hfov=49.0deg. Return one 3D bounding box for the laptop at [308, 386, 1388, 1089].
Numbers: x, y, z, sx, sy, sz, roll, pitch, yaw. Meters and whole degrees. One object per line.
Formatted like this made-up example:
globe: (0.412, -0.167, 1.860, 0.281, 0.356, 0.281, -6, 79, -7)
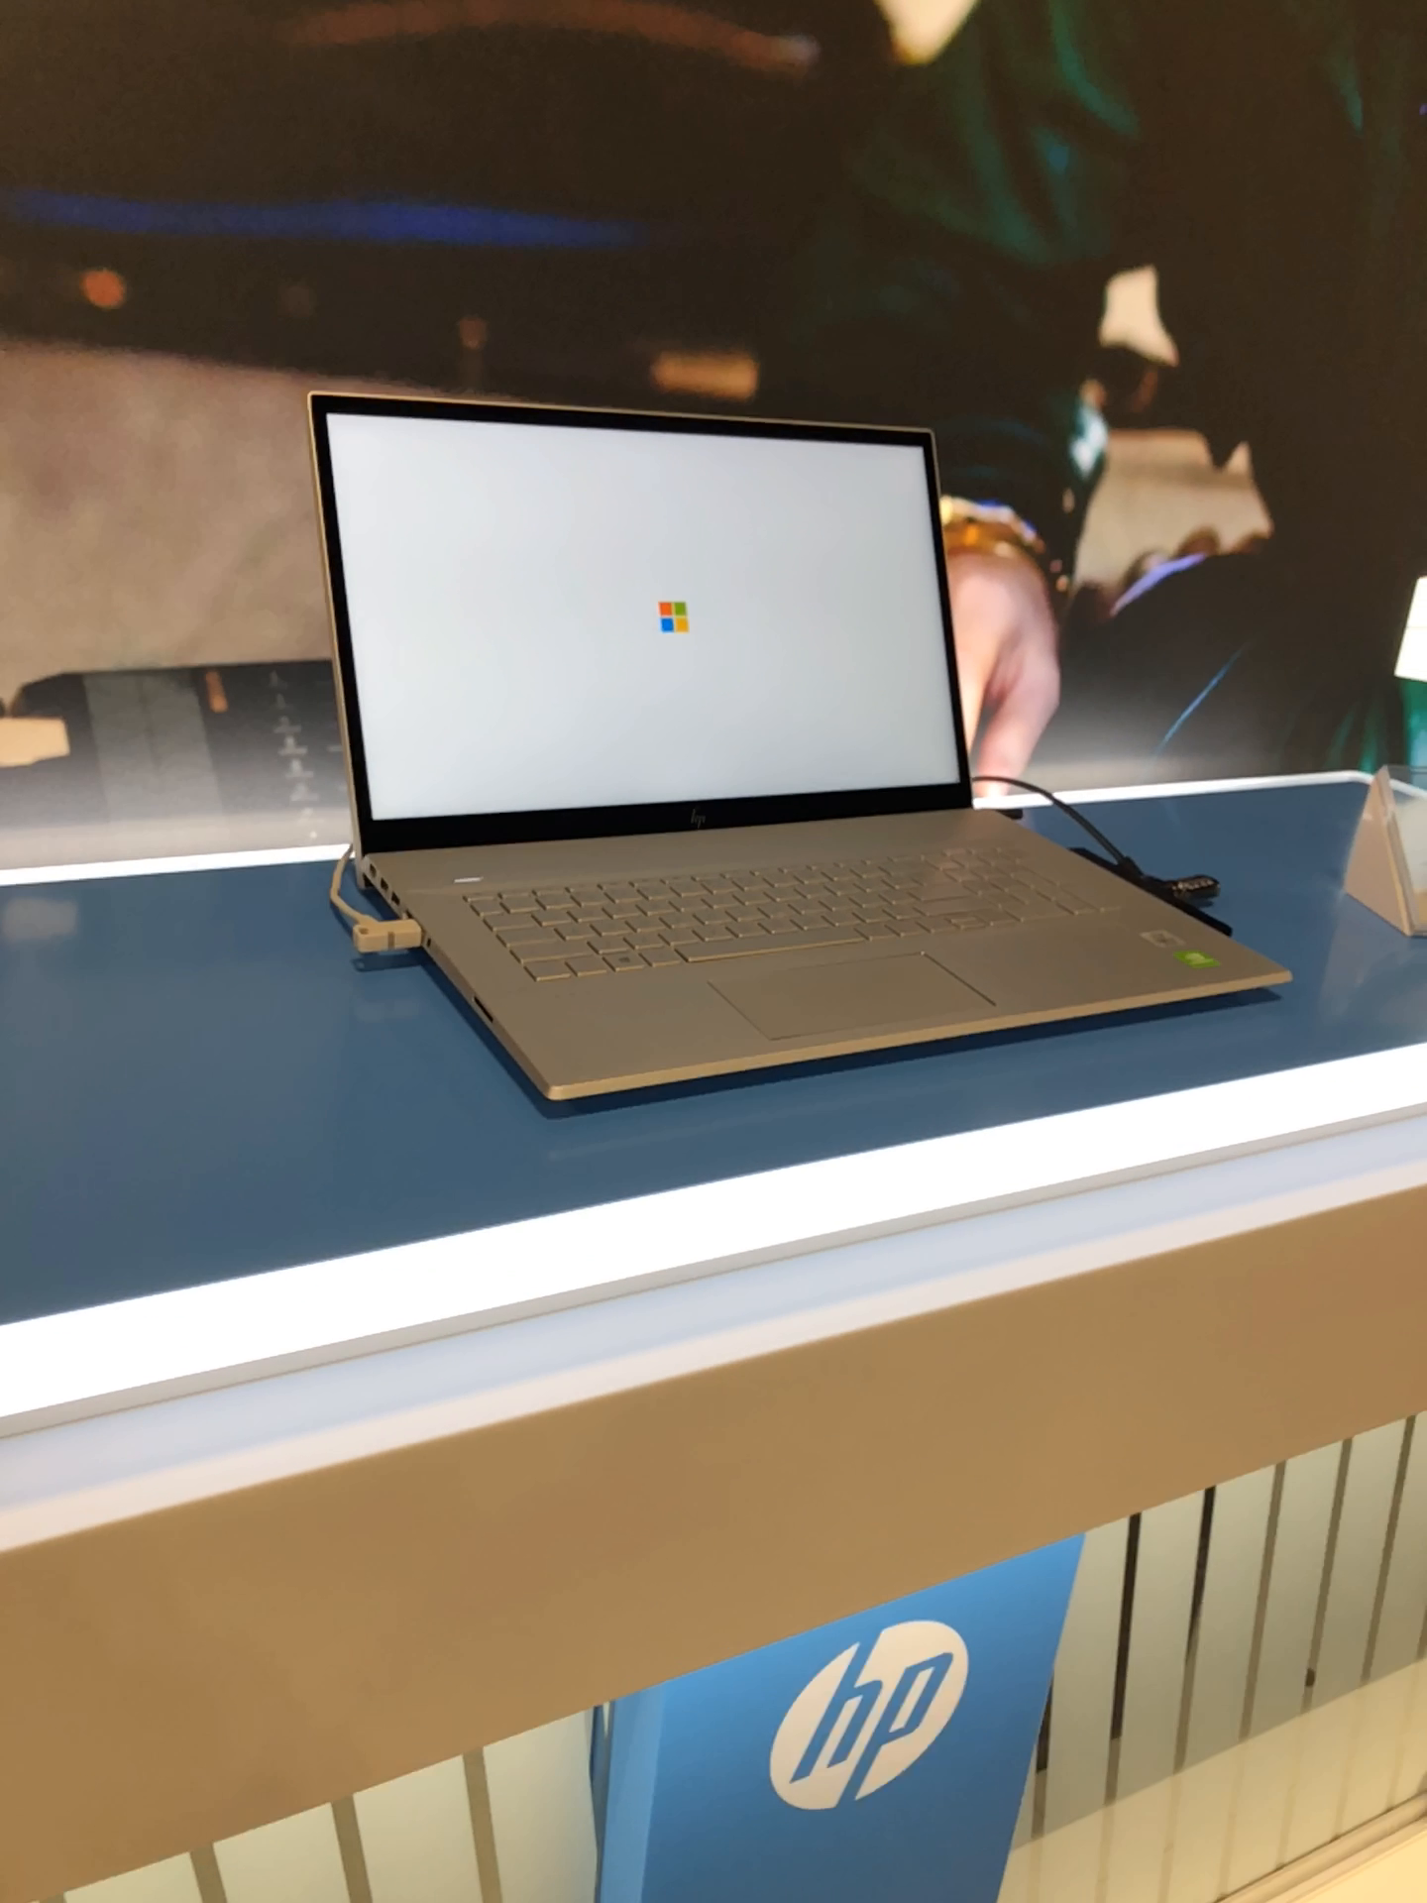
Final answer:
laptop: (0.037, -0.147, 0.820, 0.400, 0.217, 0.385, -7, 26, -27)
